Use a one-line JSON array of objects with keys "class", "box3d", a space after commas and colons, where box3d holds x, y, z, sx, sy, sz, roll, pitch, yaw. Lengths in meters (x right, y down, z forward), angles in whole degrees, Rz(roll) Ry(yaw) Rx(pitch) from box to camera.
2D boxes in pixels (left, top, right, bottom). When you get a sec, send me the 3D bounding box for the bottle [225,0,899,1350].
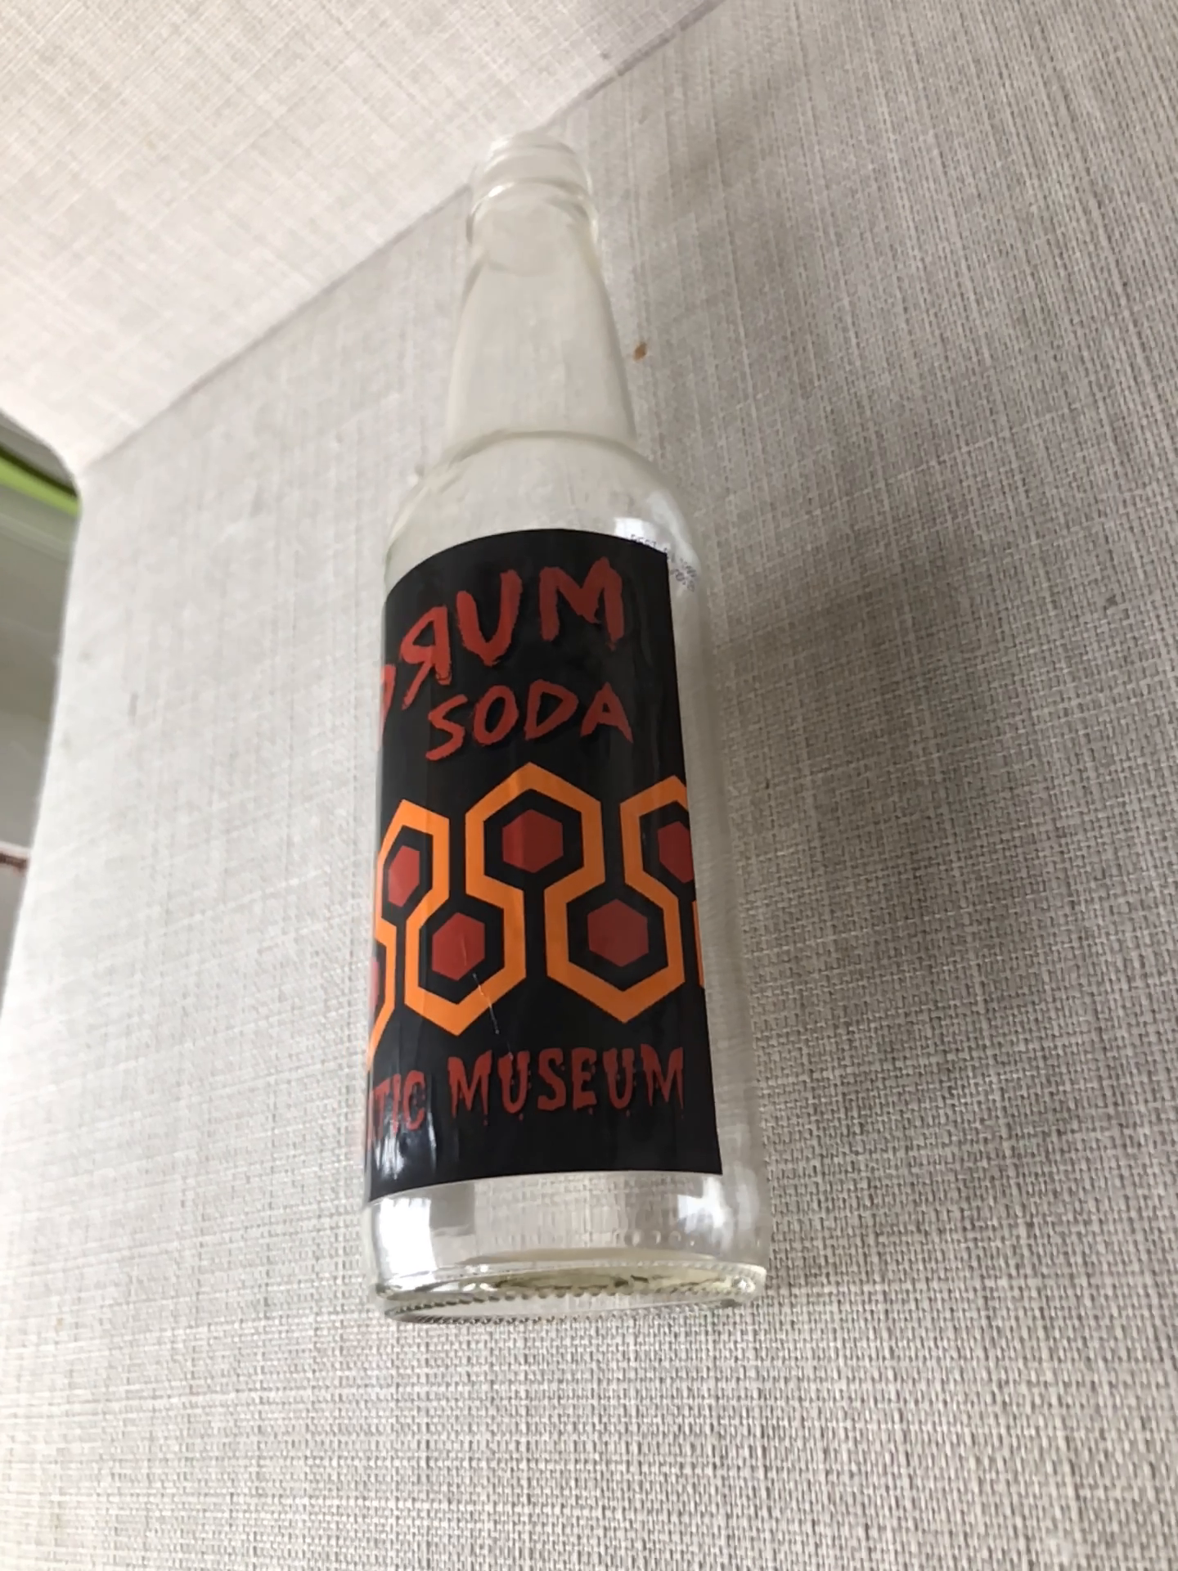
[{"class": "bottle", "box3d": [-0.010, -0.030, 0.230, 0.063, 0.070, 0.231, -23, 60, 35]}]
